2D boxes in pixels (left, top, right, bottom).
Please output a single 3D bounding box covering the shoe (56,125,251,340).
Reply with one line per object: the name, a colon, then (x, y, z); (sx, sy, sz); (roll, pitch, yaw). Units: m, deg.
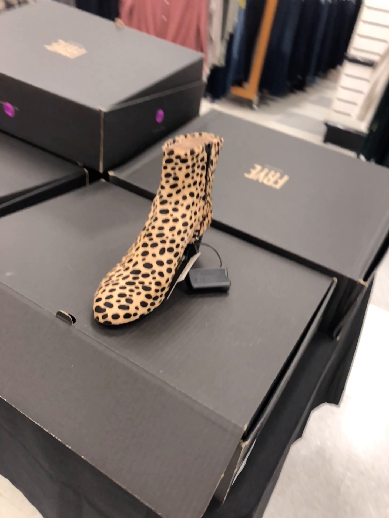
shoe: (-0.041, -0.049, 0.534); (0.093, 0.164, 0.250); (25, 37, 21)
